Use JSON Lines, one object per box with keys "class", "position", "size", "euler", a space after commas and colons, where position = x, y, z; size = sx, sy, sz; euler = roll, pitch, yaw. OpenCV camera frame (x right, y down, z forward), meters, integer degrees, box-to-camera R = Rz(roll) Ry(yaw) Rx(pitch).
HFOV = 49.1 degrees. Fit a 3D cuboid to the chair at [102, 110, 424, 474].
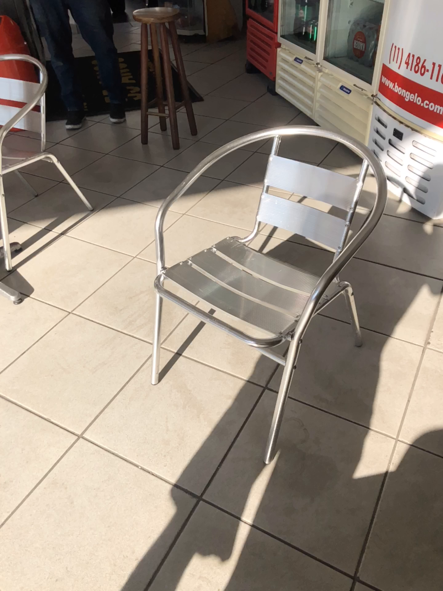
{"class": "chair", "position": [0.129, -0.049, 1.416], "size": [0.522, 0.705, 0.633], "euler": [27, 47, 31]}
